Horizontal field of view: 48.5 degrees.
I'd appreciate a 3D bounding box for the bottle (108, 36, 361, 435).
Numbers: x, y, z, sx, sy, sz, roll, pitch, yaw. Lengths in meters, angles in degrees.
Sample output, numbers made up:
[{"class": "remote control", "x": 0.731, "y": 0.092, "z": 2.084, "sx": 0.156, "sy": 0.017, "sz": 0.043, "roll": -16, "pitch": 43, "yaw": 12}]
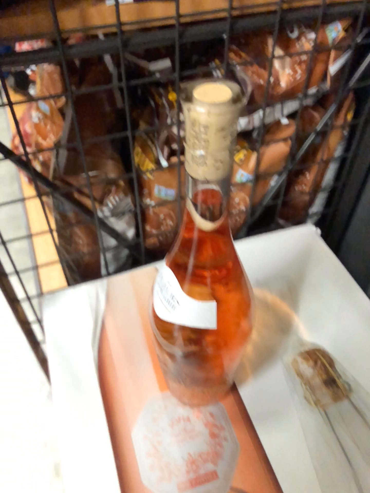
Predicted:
[{"class": "bottle", "x": 0.020, "y": 0.025, "z": 0.302, "sx": 0.090, "sy": 0.299, "sz": 0.080, "roll": -22, "pitch": 50, "yaw": -20}]
